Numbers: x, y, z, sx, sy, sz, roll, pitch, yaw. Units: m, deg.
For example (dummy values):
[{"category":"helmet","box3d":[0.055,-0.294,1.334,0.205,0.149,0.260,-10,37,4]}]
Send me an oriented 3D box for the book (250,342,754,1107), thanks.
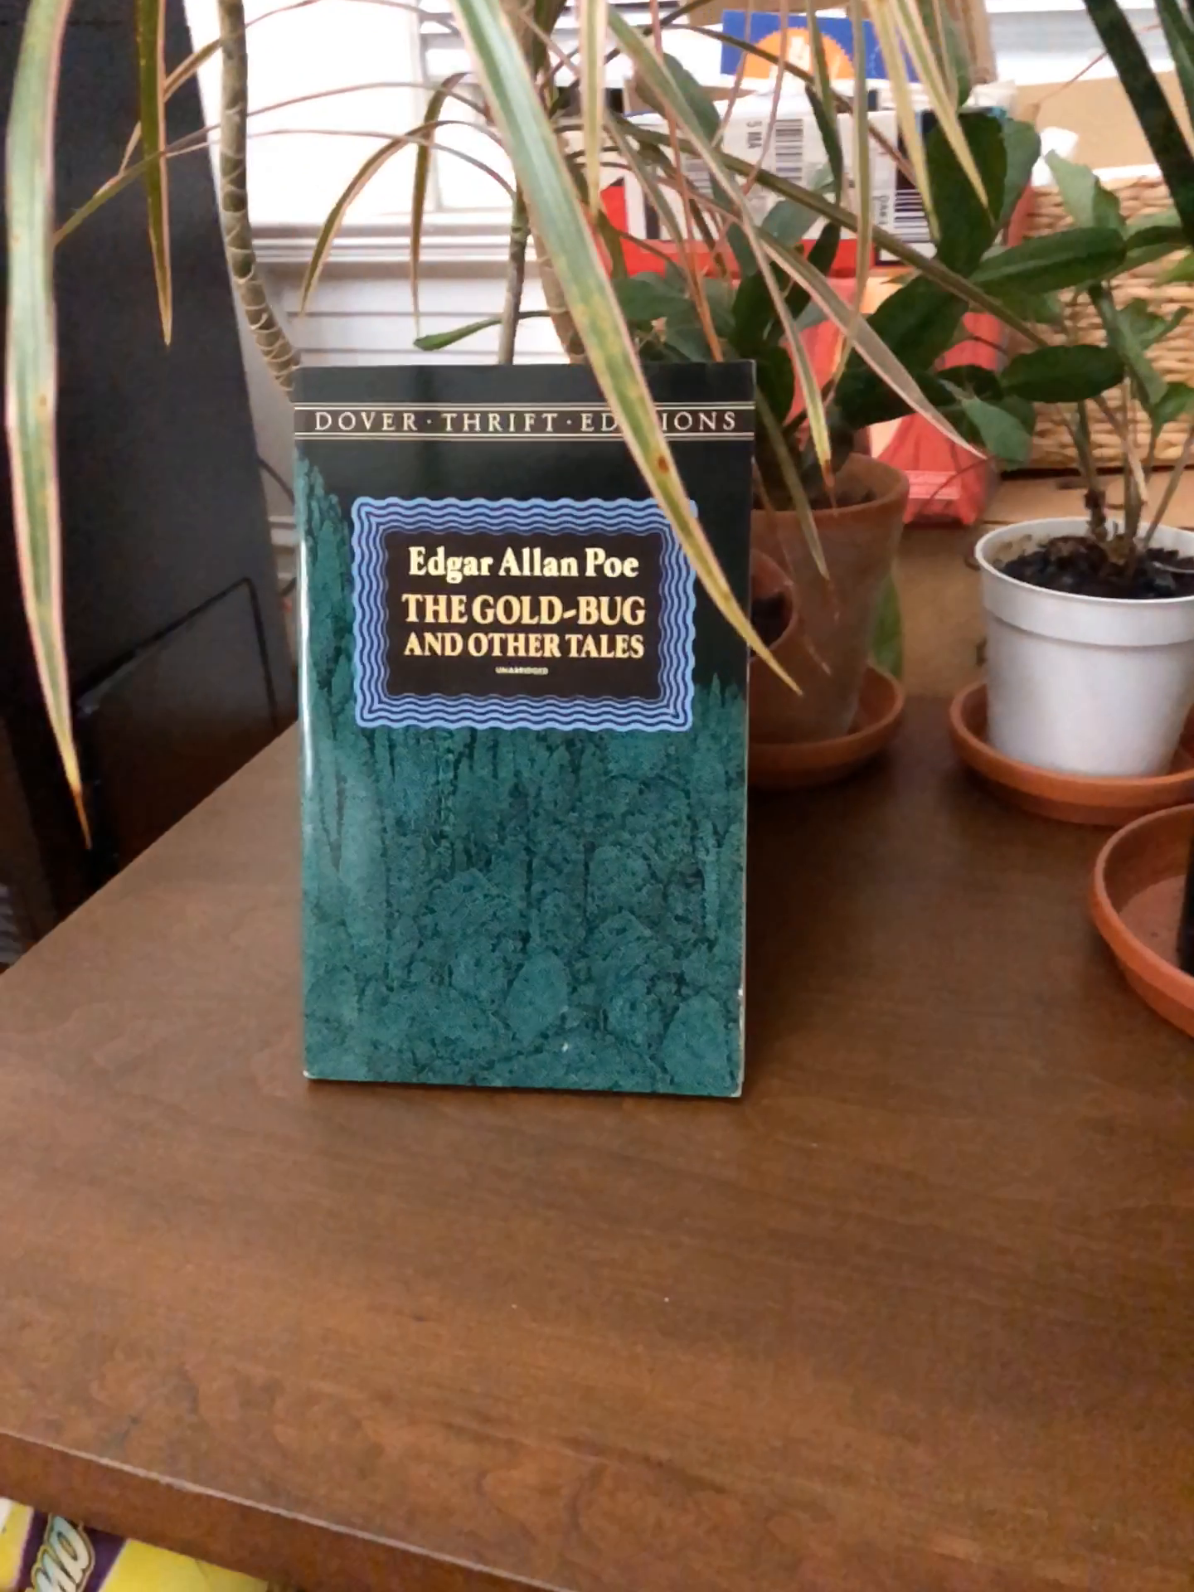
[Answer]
[{"category":"book","box3d":[-0.027,-0.020,0.379,0.140,0.210,0.020,1,5,6]}]
